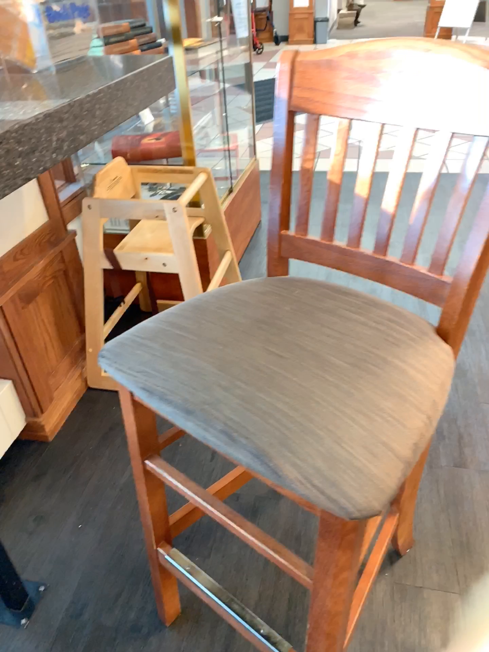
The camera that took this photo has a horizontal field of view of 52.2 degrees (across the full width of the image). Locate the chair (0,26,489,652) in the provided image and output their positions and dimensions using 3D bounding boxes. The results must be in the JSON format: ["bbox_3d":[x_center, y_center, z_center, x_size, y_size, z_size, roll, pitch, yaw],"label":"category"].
[{"bbox_3d":[0.080,0.101,0.906,0.602,1.045,0.661,25,44,35],"label":"chair"}]
